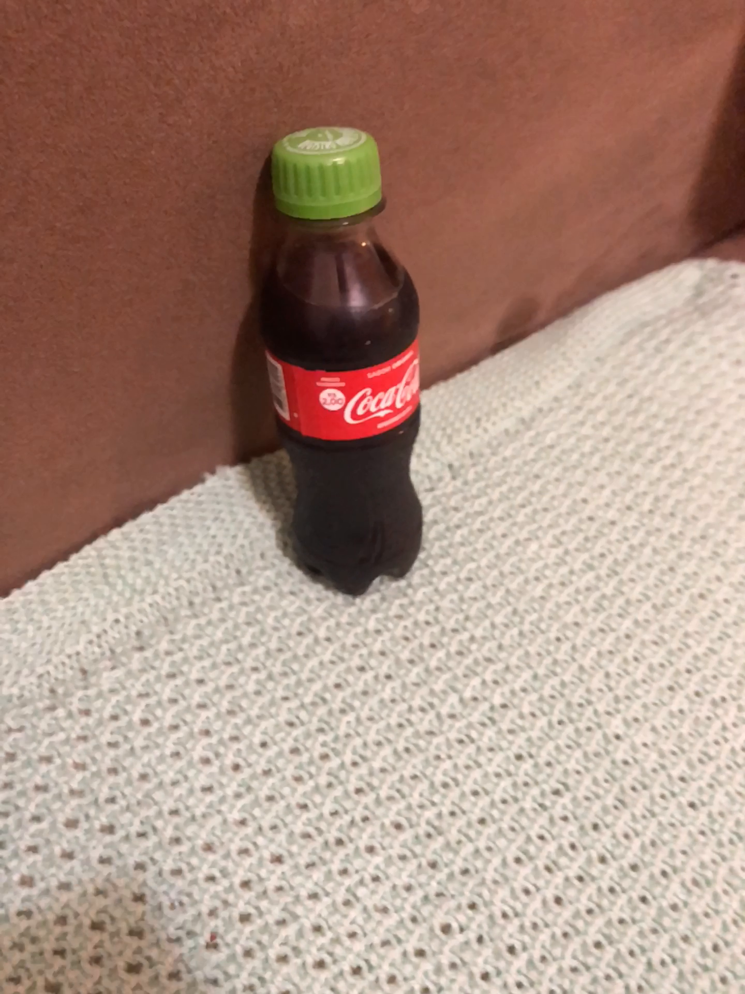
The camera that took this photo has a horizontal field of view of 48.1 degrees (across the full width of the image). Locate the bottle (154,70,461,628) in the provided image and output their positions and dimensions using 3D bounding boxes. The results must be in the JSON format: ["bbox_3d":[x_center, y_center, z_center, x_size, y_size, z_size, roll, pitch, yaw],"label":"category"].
[{"bbox_3d":[-0.016,-0.042,0.287,0.060,0.169,0.060,-1,42,1],"label":"bottle"}]
